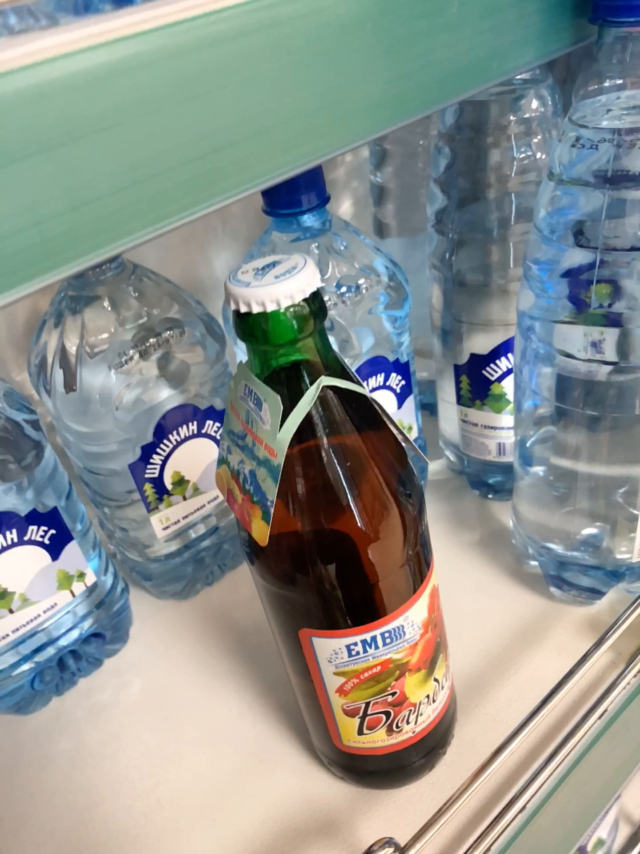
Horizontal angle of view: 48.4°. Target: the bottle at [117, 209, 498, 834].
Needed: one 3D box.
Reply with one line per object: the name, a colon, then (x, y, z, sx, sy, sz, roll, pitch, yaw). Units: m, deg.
bottle: (0.011, 0.047, 0.256, 0.073, 0.222, 0.057, -33, 40, -24)
